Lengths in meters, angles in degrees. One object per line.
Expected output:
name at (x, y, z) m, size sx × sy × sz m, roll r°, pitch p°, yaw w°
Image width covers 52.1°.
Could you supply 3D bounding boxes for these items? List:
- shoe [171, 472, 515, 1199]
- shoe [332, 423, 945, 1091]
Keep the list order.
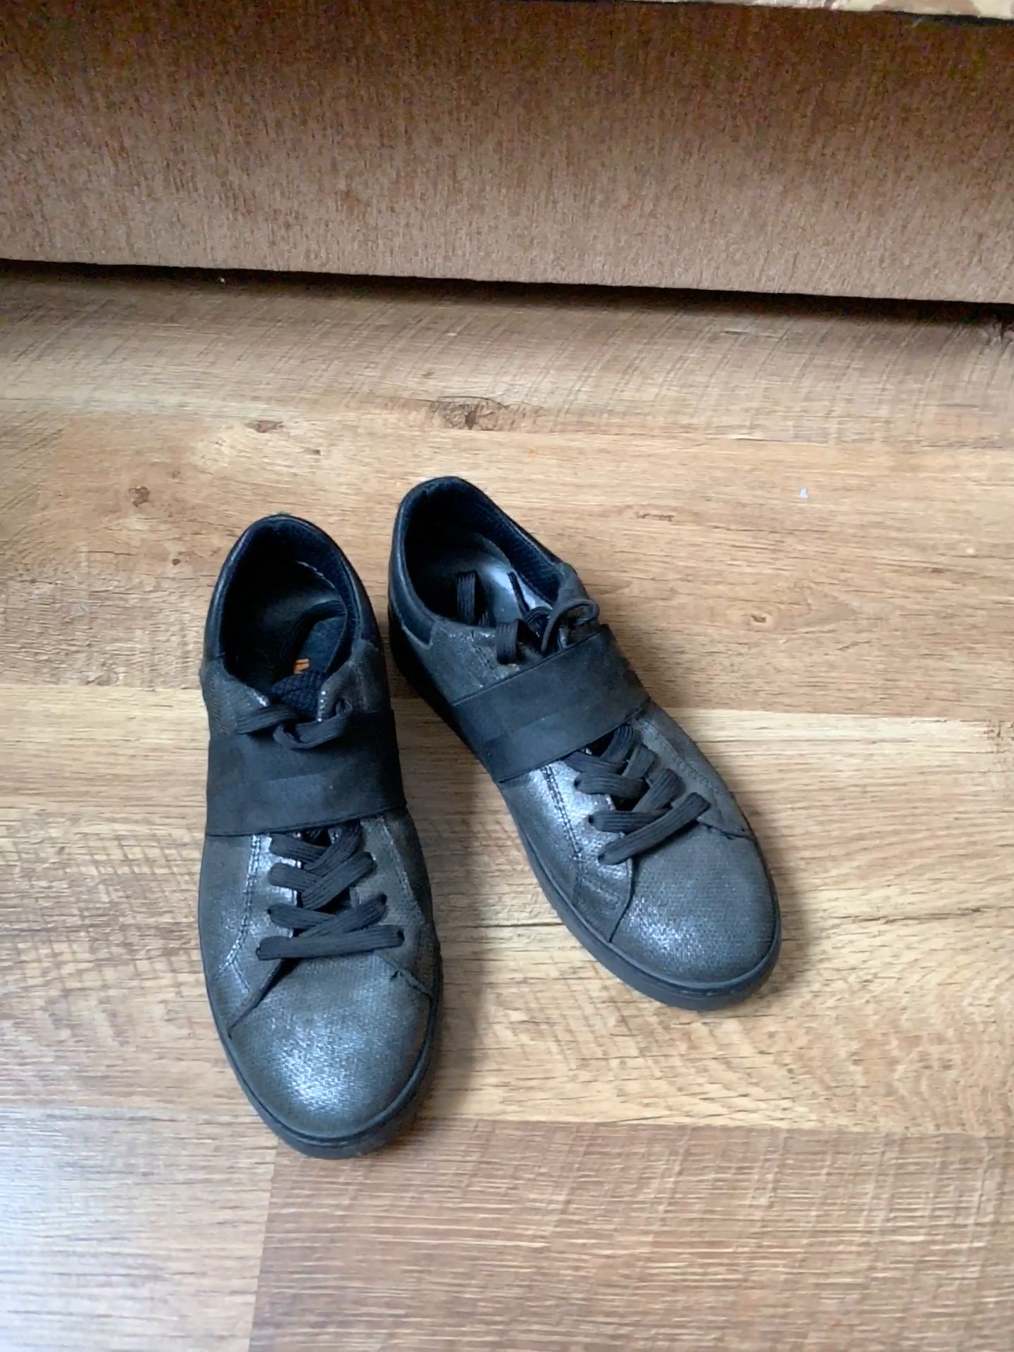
shoe at (-0.072, 0.049, 0.412) m, size 0.100 × 0.090 × 0.261 m, roll -8°, pitch 56°, yaw -7°
shoe at (0.037, 0.021, 0.439) m, size 0.100 × 0.090 × 0.261 m, roll -28°, pitch 60°, yaw -19°
